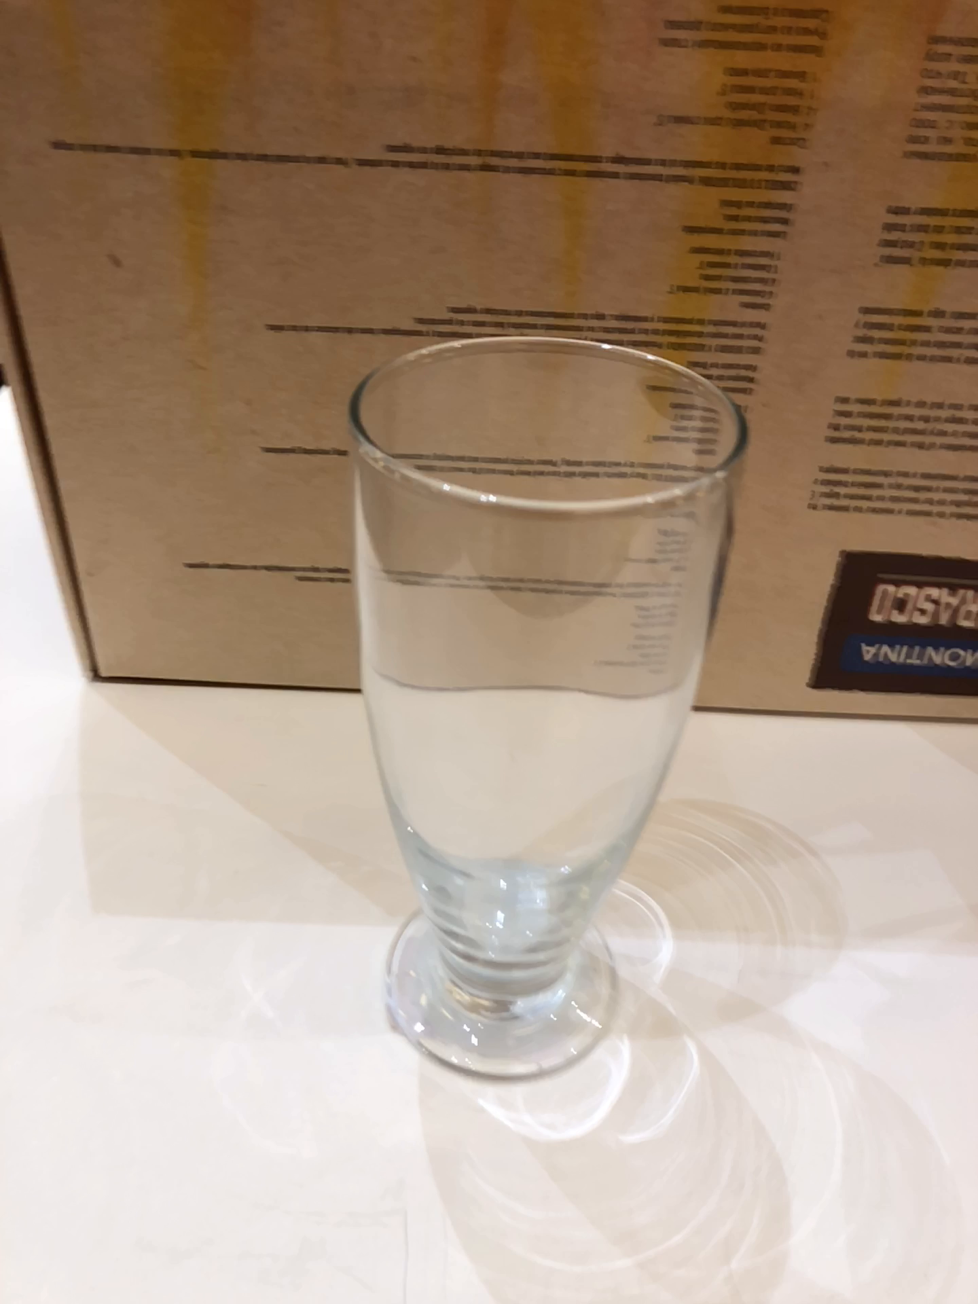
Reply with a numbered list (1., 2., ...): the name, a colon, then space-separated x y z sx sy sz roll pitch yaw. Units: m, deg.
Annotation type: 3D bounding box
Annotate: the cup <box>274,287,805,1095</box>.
1. cup: 0.005 0.018 0.271 0.090 0.189 0.081 2 35 -2
